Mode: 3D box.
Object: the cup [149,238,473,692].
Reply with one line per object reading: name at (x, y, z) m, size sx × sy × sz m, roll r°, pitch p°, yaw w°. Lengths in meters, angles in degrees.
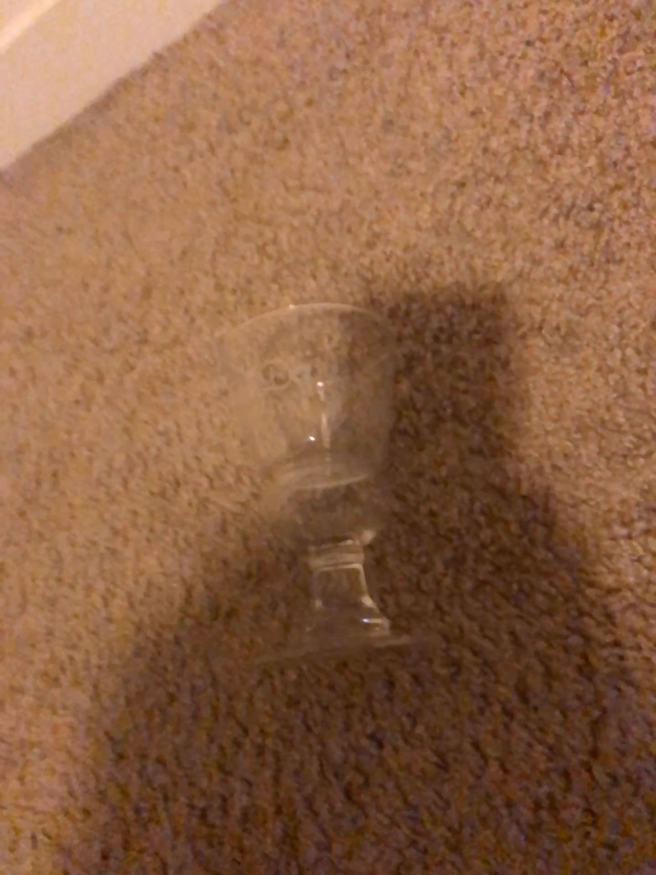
cup at (-0.013, 0.019, 0.311) m, size 0.094 × 0.078 × 0.158 m, roll -22°, pitch 62°, yaw 31°
